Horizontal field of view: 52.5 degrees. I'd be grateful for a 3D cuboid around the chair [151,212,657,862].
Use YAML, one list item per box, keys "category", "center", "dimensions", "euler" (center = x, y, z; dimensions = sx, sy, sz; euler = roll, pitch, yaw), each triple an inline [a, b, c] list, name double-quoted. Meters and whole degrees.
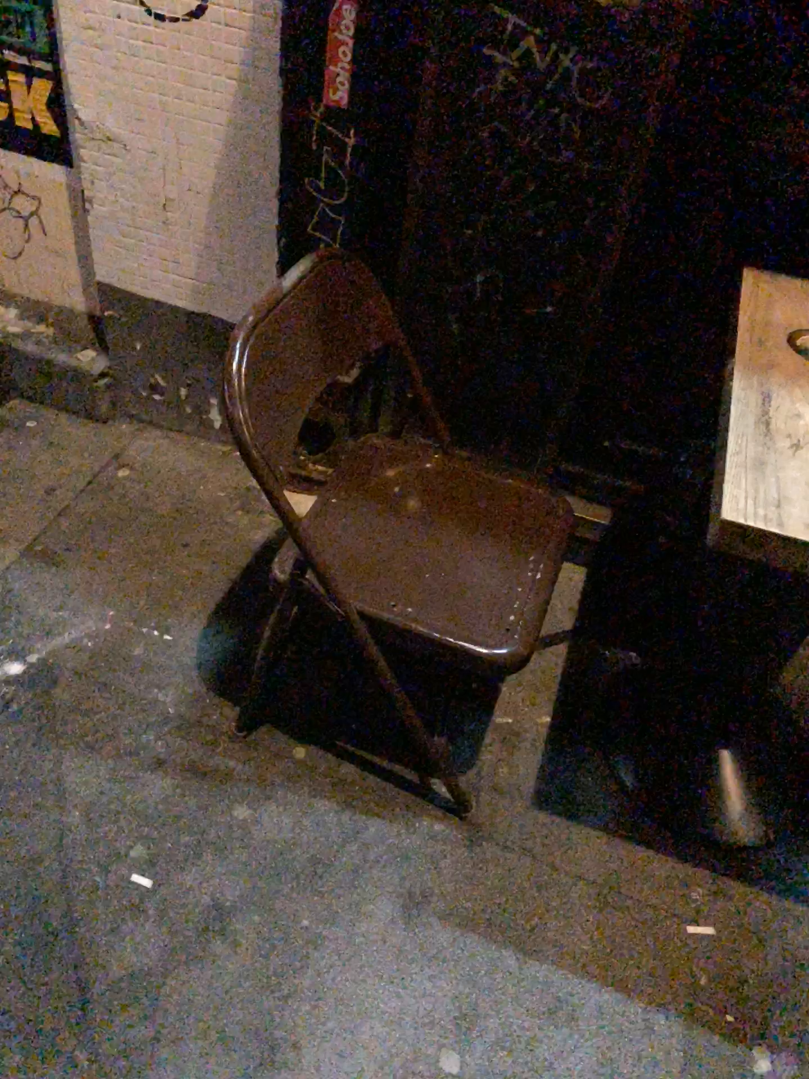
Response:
- category: "chair"
  center: [-0.005, 0.002, 1.243]
  dimensions: [0.481, 0.723, 0.494]
  euler: [19, 43, 11]
